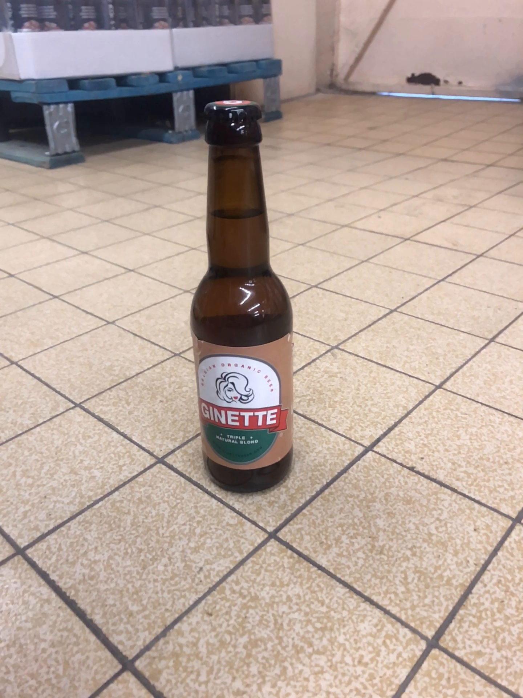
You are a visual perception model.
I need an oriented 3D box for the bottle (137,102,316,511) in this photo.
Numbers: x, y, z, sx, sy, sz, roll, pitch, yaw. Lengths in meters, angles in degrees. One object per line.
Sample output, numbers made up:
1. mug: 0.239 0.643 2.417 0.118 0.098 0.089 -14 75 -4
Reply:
1. bottle: -0.011 -0.019 0.330 0.070 0.219 0.070 -1 28 1
